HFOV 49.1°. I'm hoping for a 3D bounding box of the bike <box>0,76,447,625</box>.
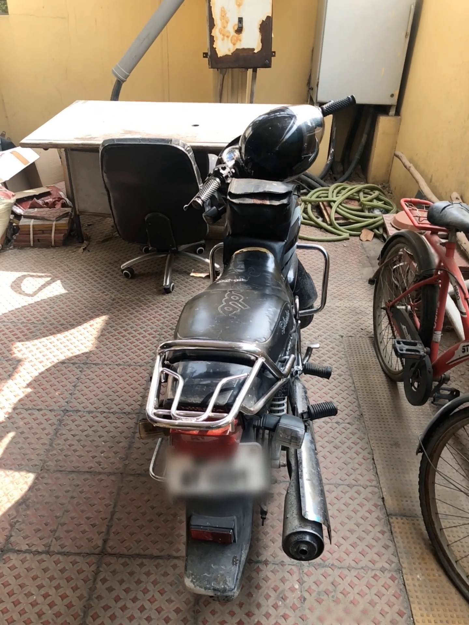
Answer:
[{"bbox_3d":[-0.106,-0.066,1.665,0.713,1.028,1.623,2,33,-1],"label":"bike"}]
